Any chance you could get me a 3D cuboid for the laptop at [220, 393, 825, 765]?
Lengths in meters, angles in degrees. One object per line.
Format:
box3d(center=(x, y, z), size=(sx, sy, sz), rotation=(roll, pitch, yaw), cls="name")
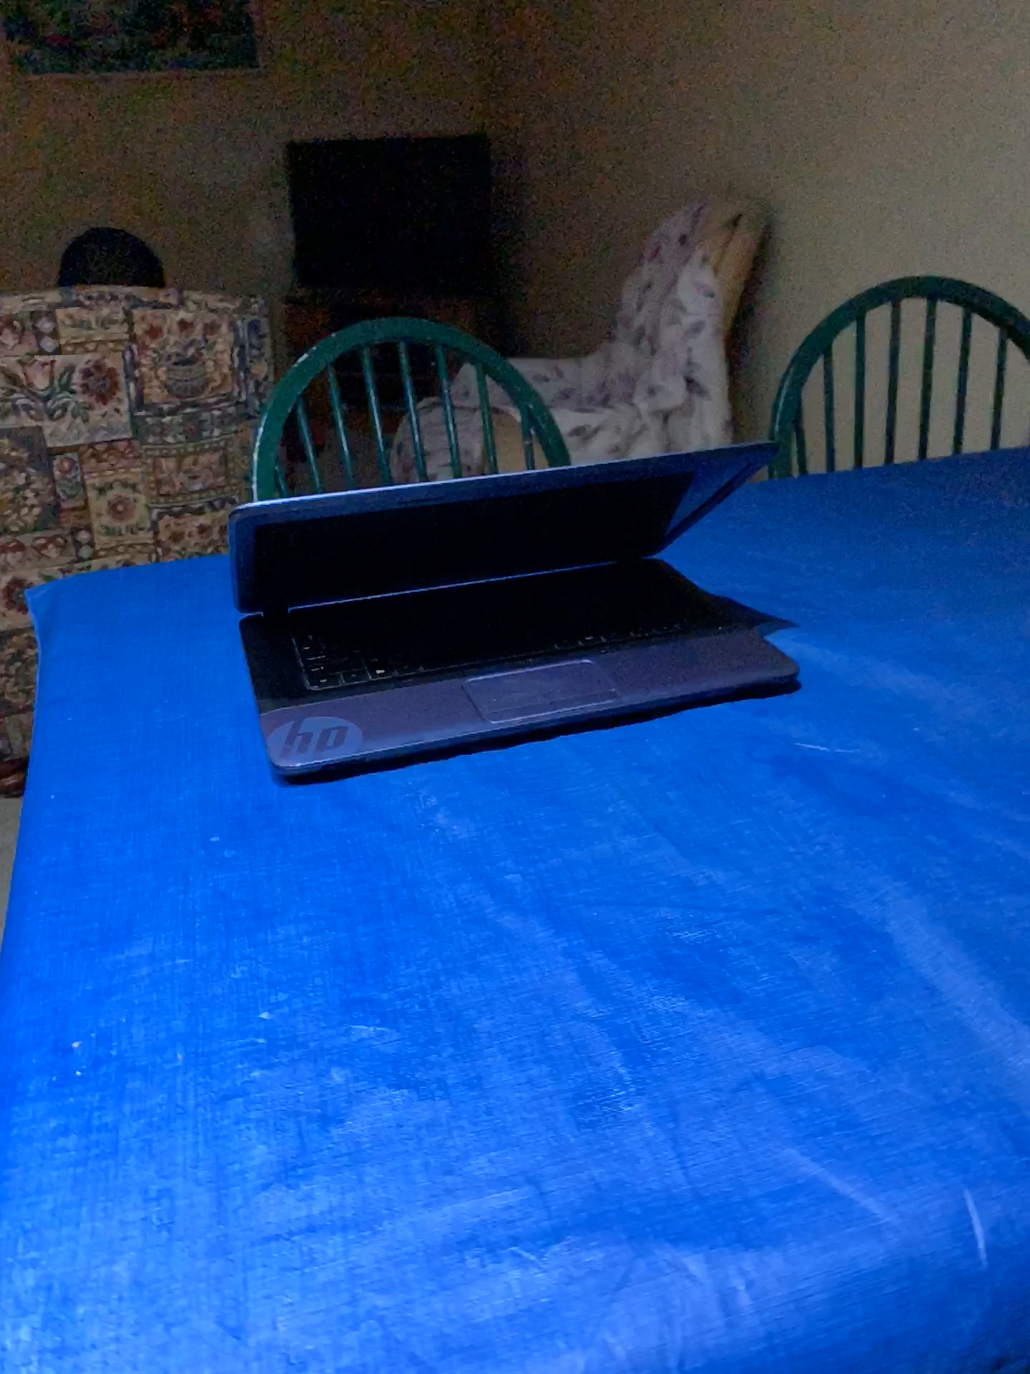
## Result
box3d(center=(-0.009, -0.099, 0.766), size=(0.363, 0.141, 0.241), rotation=(-10, 28, -15), cls="laptop")
